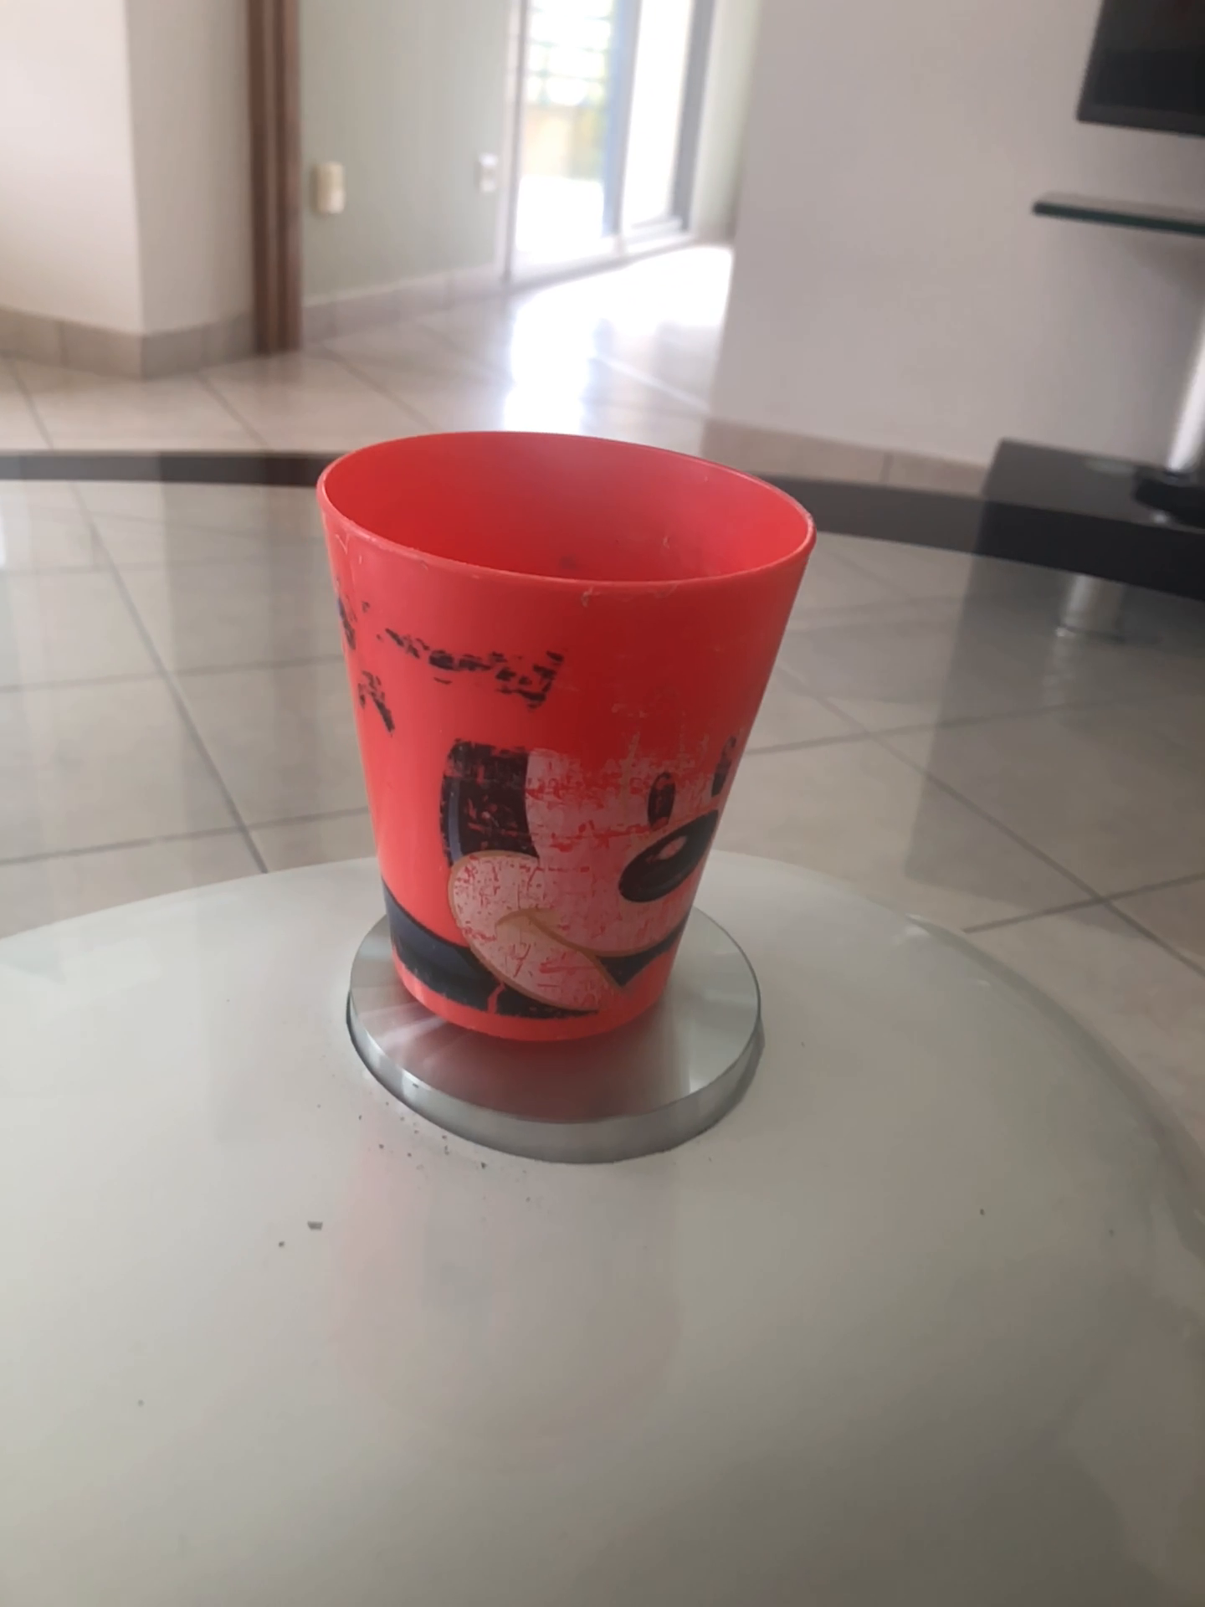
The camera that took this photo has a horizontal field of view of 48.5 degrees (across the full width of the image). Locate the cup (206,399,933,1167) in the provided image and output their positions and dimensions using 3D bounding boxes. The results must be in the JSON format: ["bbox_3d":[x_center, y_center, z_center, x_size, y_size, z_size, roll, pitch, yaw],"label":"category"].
[{"bbox_3d":[-0.010,-0.012,0.225,0.080,0.089,0.080,5,27,-3],"label":"cup"}]
